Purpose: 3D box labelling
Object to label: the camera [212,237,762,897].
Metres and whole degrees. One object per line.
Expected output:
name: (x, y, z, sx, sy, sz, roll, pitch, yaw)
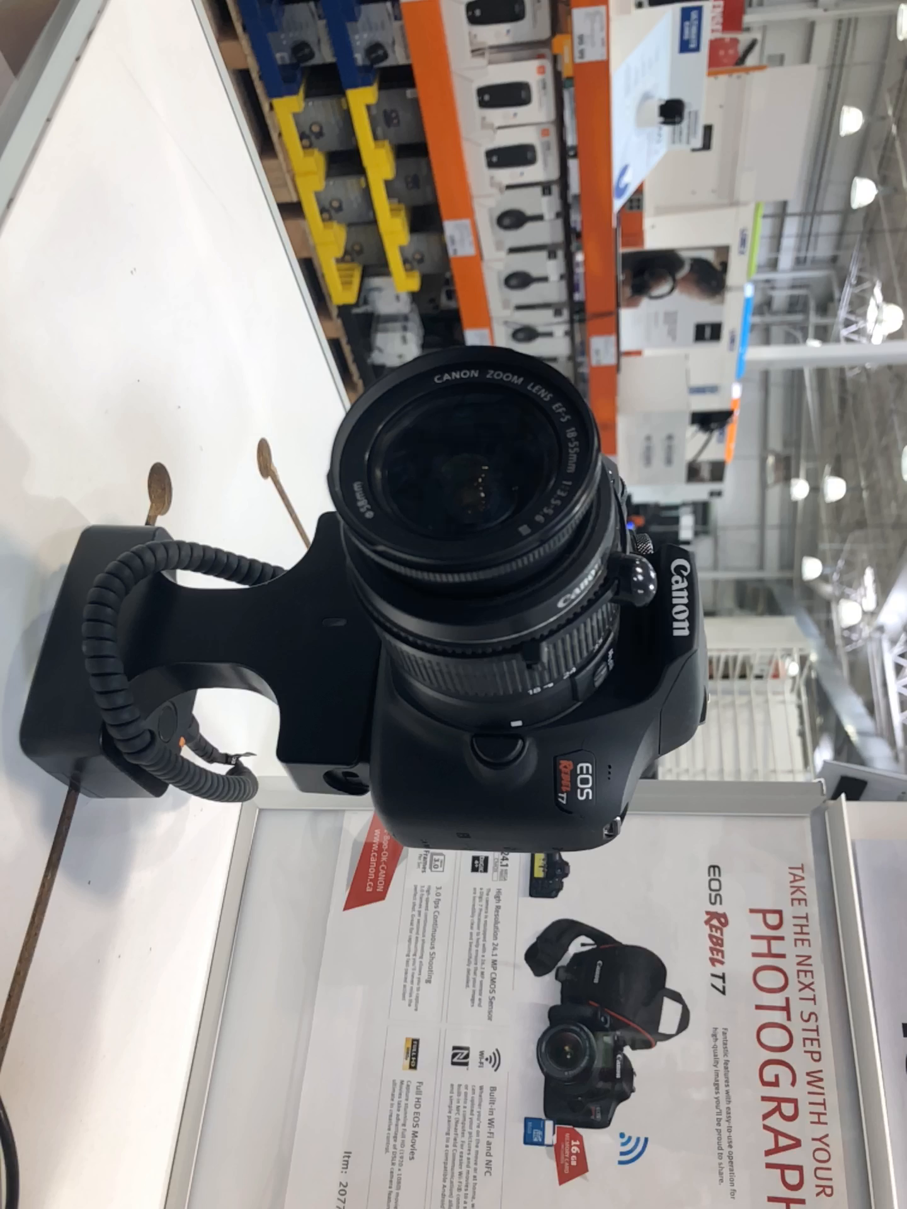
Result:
camera: (0.021, 0.001, 0.294, 0.150, 0.110, 0.130, 72, 20, -61)
